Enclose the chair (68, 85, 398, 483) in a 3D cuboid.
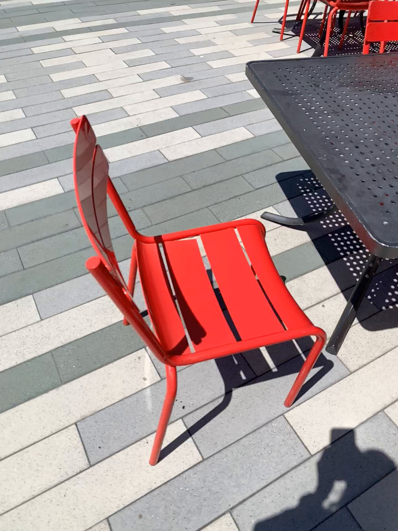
[{"bbox_3d":[0.046,0.079,1.110,0.580,0.846,0.583,-11,48,-12],"label":"chair"}]
